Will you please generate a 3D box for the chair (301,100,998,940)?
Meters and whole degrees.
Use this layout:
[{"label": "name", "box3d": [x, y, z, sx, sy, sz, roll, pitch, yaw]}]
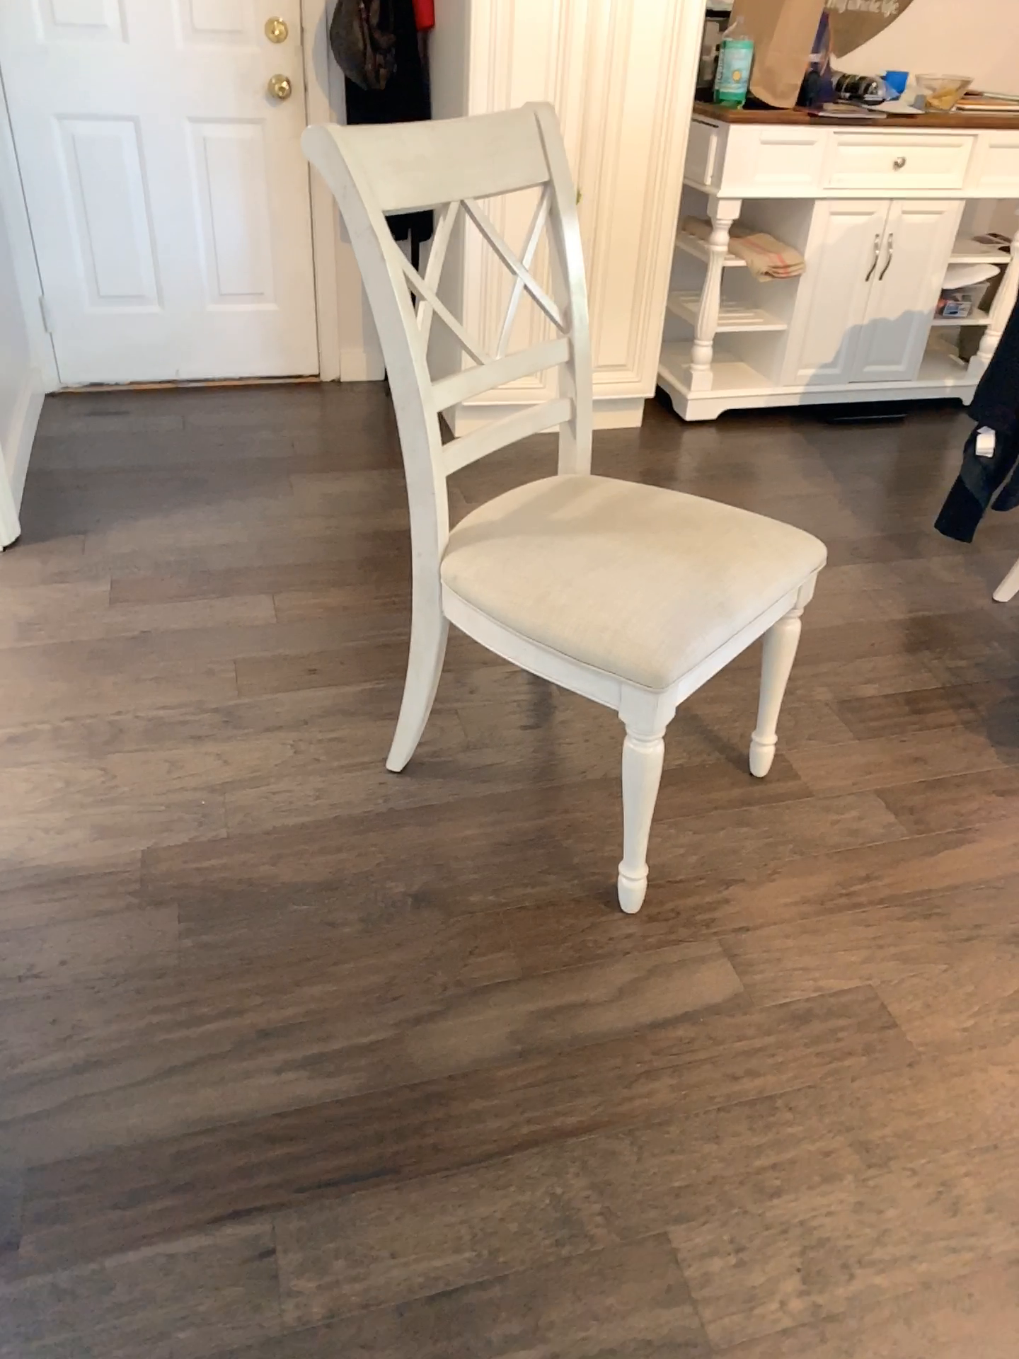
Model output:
[{"label": "chair", "box3d": [0.146, -0.264, 1.502, 0.652, 0.924, 0.532, 27, 40, 30]}]
